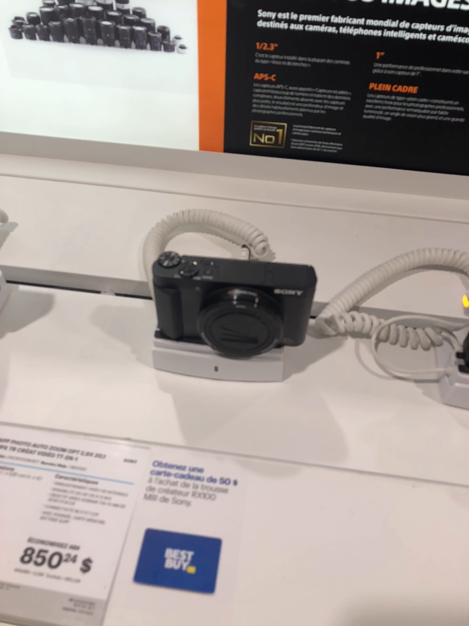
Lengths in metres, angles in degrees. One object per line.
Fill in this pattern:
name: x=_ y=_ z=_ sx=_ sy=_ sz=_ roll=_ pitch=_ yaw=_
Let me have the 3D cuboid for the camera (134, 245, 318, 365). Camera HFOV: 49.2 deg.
camera: x=-0.005 y=-0.004 z=0.340 sx=0.110 sy=0.069 sz=0.030 roll=5 pitch=45 yaw=2
